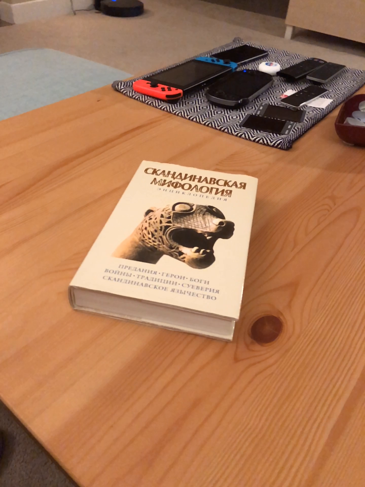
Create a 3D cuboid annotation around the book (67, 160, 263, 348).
[{"bbox_3d":[-0.002,-0.007,0.414,0.146,0.037,0.211,10,43,9],"label":"book"}]
